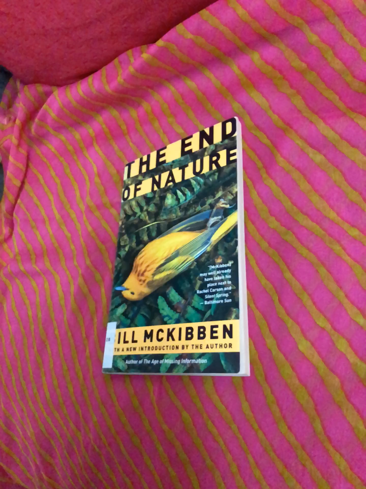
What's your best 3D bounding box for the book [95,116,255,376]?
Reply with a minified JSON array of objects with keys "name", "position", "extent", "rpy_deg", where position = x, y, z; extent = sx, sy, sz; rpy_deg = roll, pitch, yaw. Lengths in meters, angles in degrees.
[{"name":"book","position":[-0.009,0.005,0.333],"extent":[0.132,0.020,0.194],"rpy_deg":[-11,68,33]}]
